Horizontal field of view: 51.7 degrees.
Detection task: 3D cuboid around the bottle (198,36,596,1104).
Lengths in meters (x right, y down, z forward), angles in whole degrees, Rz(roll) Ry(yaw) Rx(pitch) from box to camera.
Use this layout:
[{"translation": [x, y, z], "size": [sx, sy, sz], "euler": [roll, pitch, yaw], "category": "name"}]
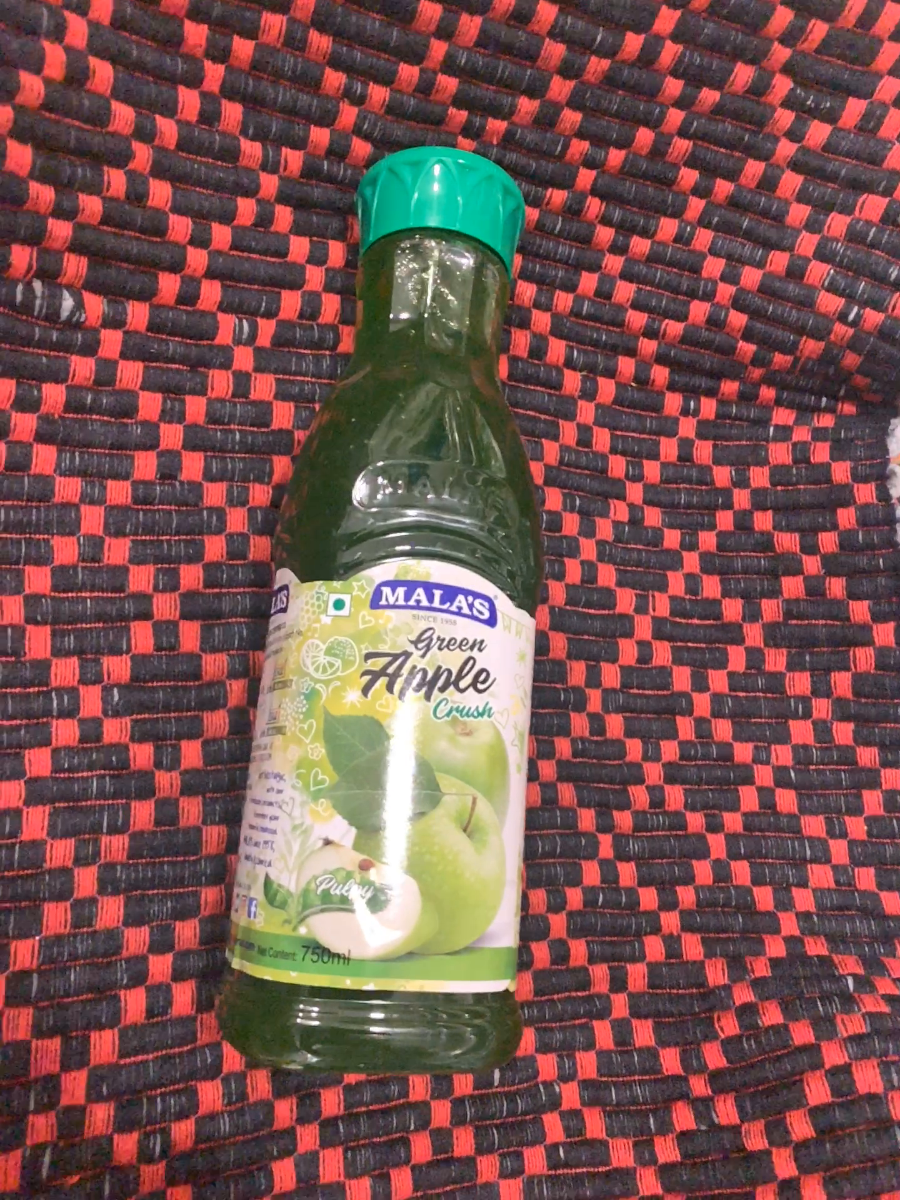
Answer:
[{"translation": [-0.010, -0.014, 0.248], "size": [0.070, 0.070, 0.250], "euler": [10, 71, -21], "category": "bottle"}]
